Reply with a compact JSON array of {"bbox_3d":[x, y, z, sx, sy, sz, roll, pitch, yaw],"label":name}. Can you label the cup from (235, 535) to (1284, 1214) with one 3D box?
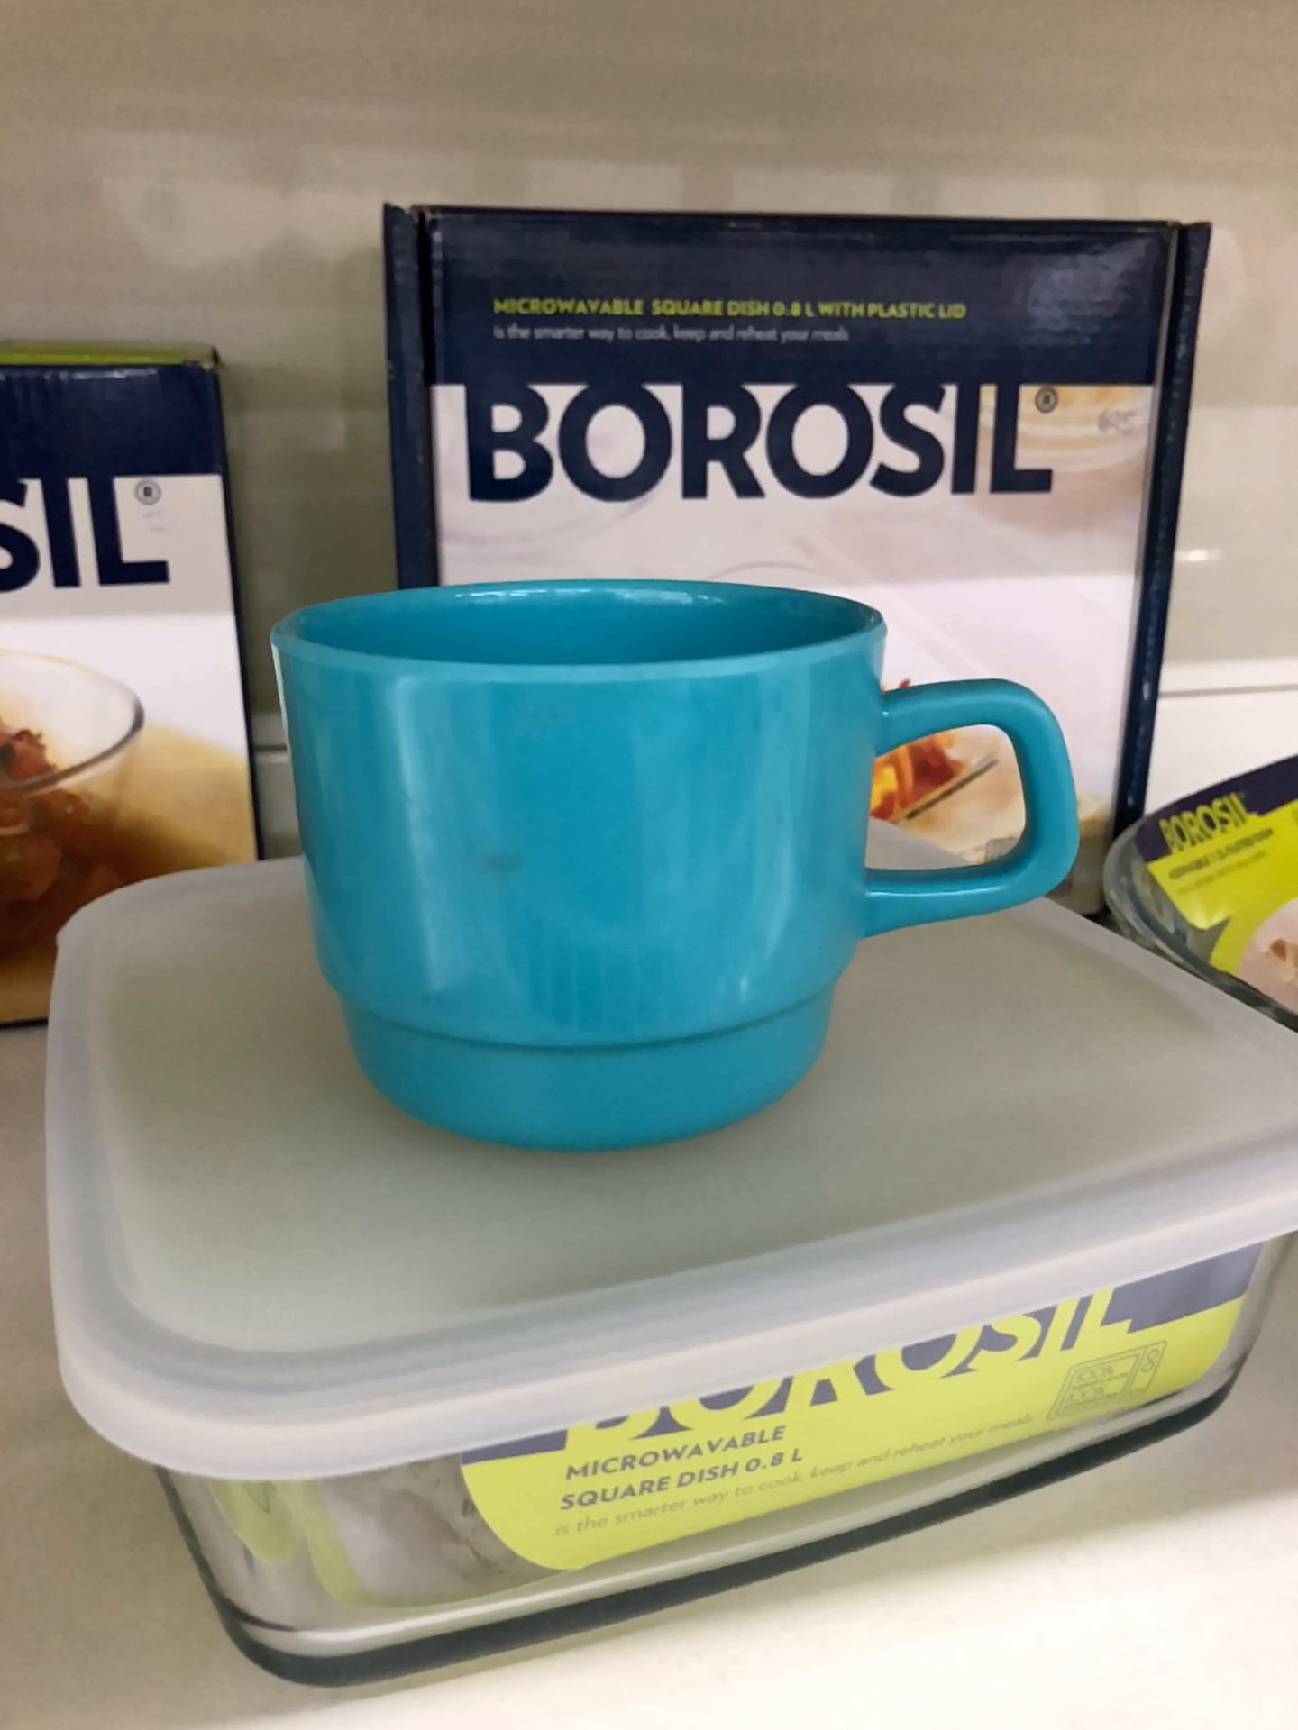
[{"bbox_3d":[0.009,-0.008,0.215,0.120,0.070,0.090,-3,18,-9],"label":"cup"}]
